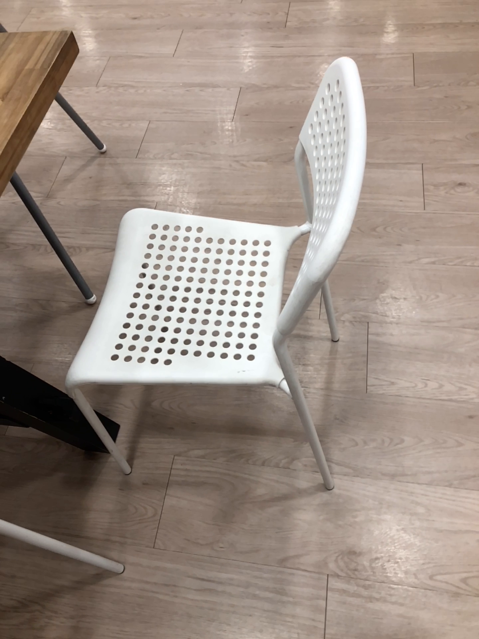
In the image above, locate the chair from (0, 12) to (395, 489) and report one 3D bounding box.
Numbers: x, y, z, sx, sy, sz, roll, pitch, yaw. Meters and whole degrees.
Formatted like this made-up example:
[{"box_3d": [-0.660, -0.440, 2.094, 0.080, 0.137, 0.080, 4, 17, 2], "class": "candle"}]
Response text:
[{"box_3d": [-0.017, -0.049, 0.895, 0.450, 0.696, 0.422, 5, 58, 10], "class": "chair"}]
